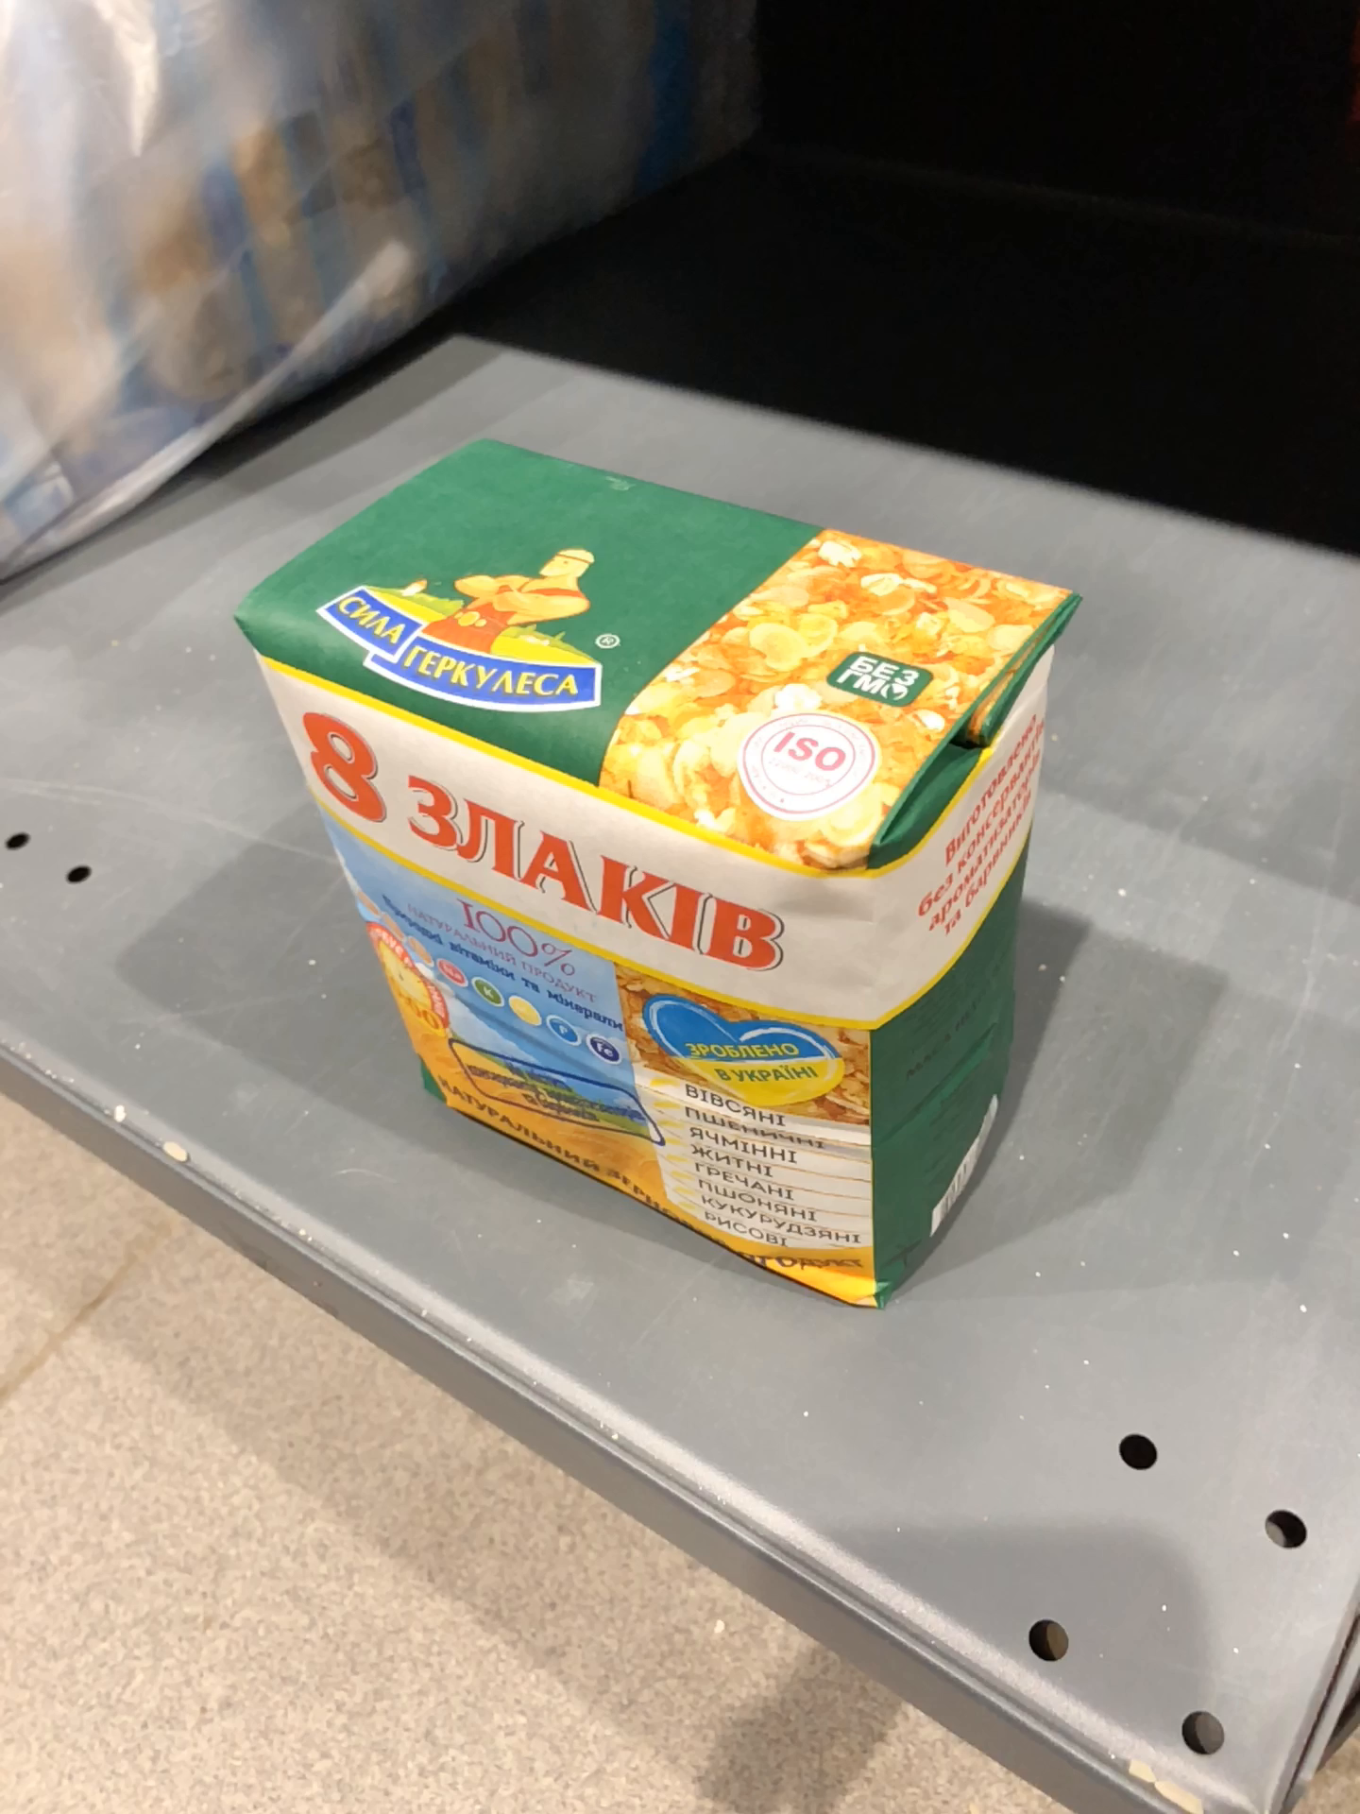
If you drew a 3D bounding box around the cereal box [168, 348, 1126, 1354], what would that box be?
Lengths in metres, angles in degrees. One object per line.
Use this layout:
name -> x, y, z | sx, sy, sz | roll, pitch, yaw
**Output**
cereal box -> -0.001, -0.009, 0.265 | 0.120, 0.129, 0.070 | 22, 53, 26
